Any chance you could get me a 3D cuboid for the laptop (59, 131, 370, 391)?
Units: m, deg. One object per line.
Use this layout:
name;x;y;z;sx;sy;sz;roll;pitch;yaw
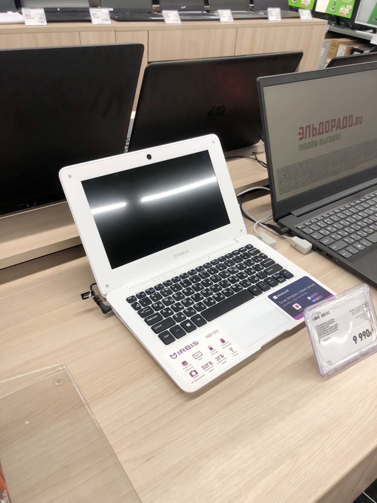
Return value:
laptop;0.025;-0.028;0.613;0.297;0.144;0.318;-21;45;-32
